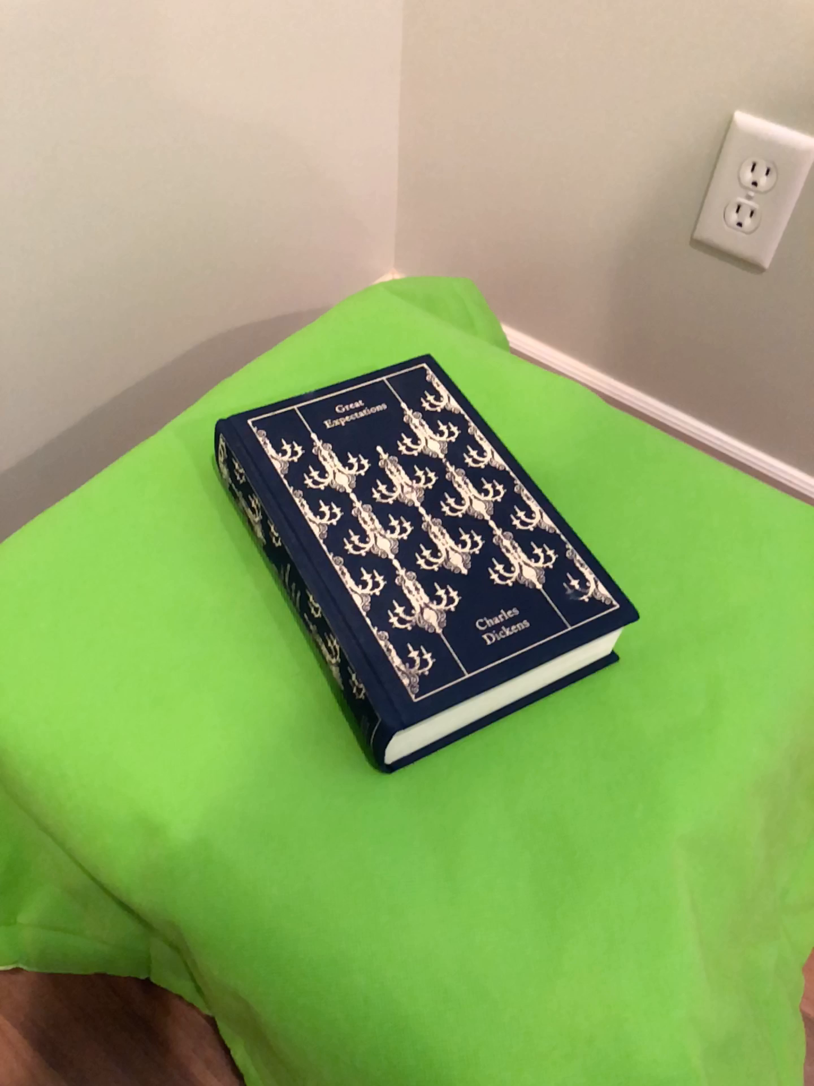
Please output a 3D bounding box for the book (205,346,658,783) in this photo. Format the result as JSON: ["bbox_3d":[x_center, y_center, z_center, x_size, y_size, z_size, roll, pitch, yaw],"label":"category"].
[{"bbox_3d":[0.003,-0.004,0.461,0.140,0.040,0.210,-22,56,-19],"label":"book"}]
